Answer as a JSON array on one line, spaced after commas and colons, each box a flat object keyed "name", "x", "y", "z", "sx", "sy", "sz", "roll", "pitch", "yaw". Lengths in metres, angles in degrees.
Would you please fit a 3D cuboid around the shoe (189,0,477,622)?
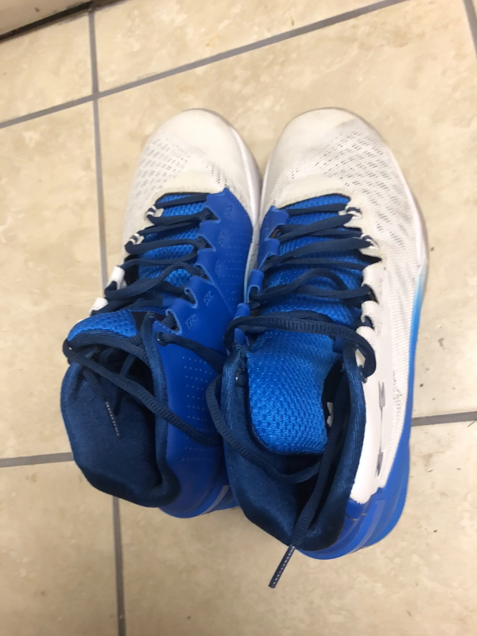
[{"name": "shoe", "x": 0.053, "y": -0.027, "z": 0.308, "sx": 0.120, "sy": 0.130, "sz": 0.322, "roll": -6, "pitch": 76, "yaw": 17}]

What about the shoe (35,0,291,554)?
[{"name": "shoe", "x": -0.048, "y": -0.025, "z": 0.345, "sx": 0.120, "sy": 0.100, "sz": 0.310, "roll": -7, "pitch": 79, "yaw": 17}]
